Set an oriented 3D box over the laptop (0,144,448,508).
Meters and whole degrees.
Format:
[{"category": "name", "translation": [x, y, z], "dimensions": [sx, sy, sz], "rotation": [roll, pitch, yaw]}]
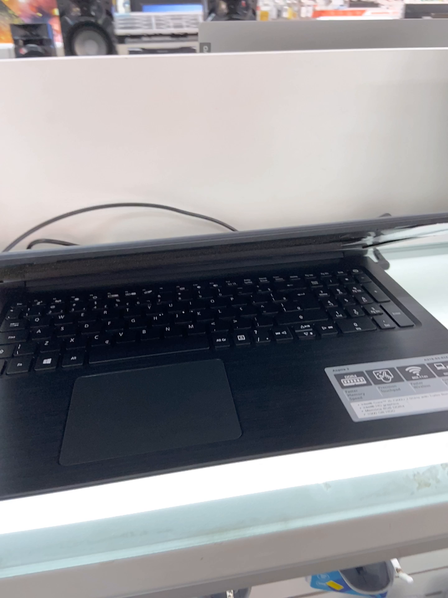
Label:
[{"category": "laptop", "translation": [-0.013, -0.020, 0.343], "dimensions": [0.381, 0.118, 0.237], "rotation": [-6, 29, -8]}]
